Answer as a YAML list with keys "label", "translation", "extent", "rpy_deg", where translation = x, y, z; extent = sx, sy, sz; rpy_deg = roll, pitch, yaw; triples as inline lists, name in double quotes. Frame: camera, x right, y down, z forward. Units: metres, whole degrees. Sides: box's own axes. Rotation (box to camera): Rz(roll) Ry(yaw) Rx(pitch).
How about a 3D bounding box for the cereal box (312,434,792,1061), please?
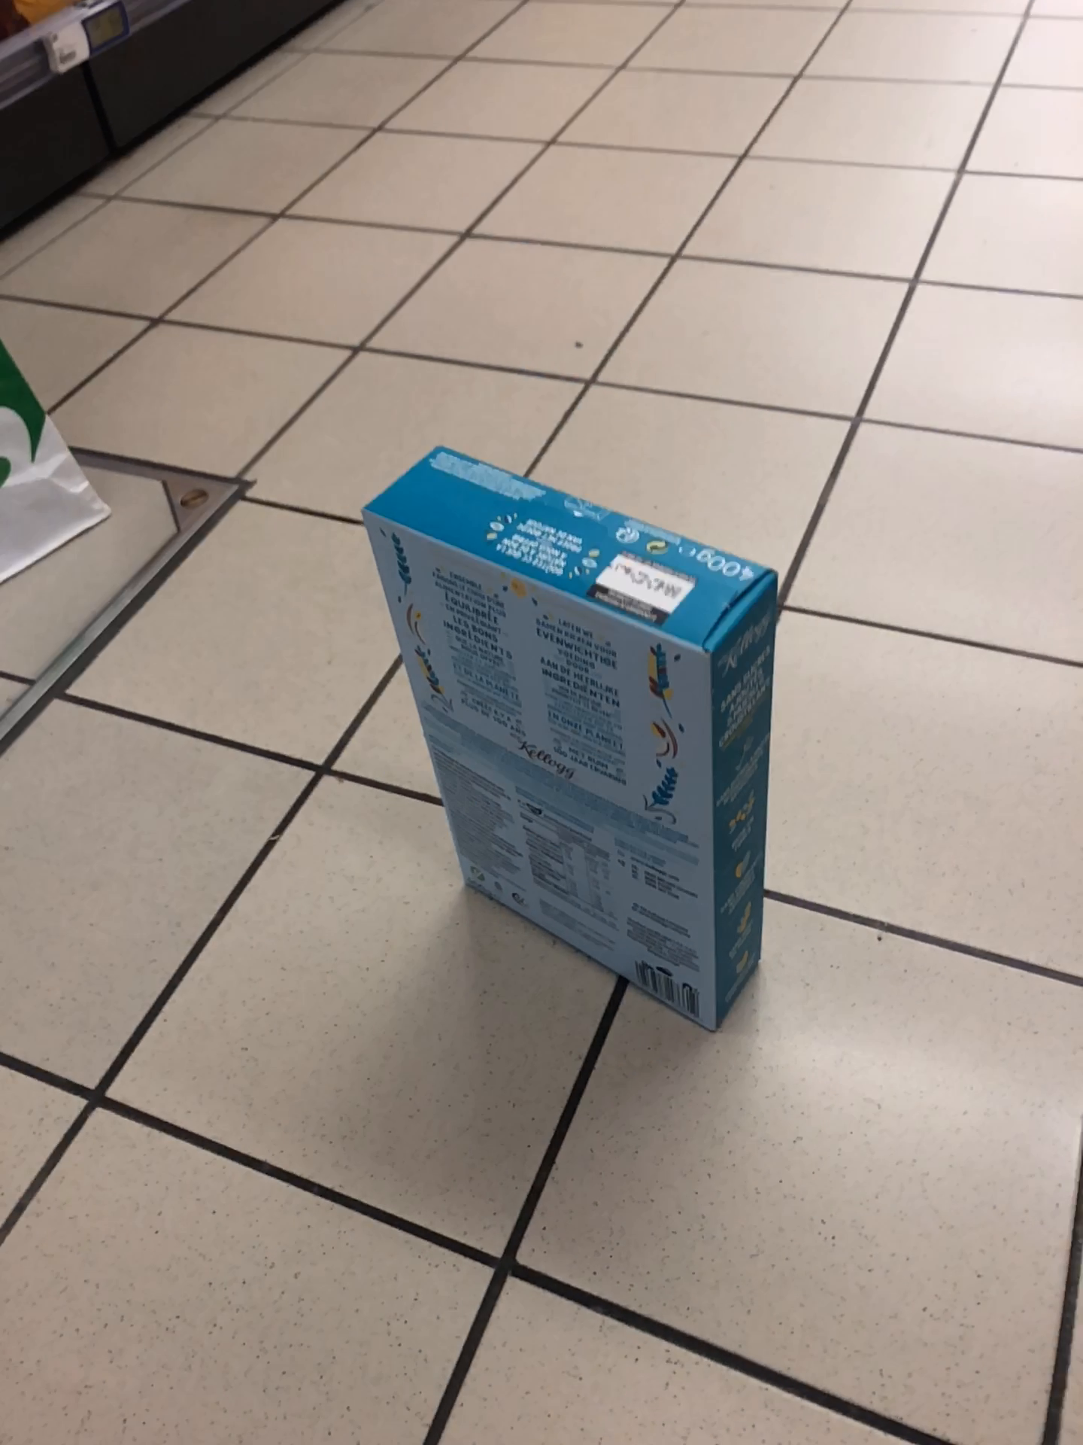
- label: "cereal box"
  translation: [0.010, 0.020, 0.481]
  extent: [0.160, 0.239, 0.050]
  rpy_deg: [24, 54, 27]
